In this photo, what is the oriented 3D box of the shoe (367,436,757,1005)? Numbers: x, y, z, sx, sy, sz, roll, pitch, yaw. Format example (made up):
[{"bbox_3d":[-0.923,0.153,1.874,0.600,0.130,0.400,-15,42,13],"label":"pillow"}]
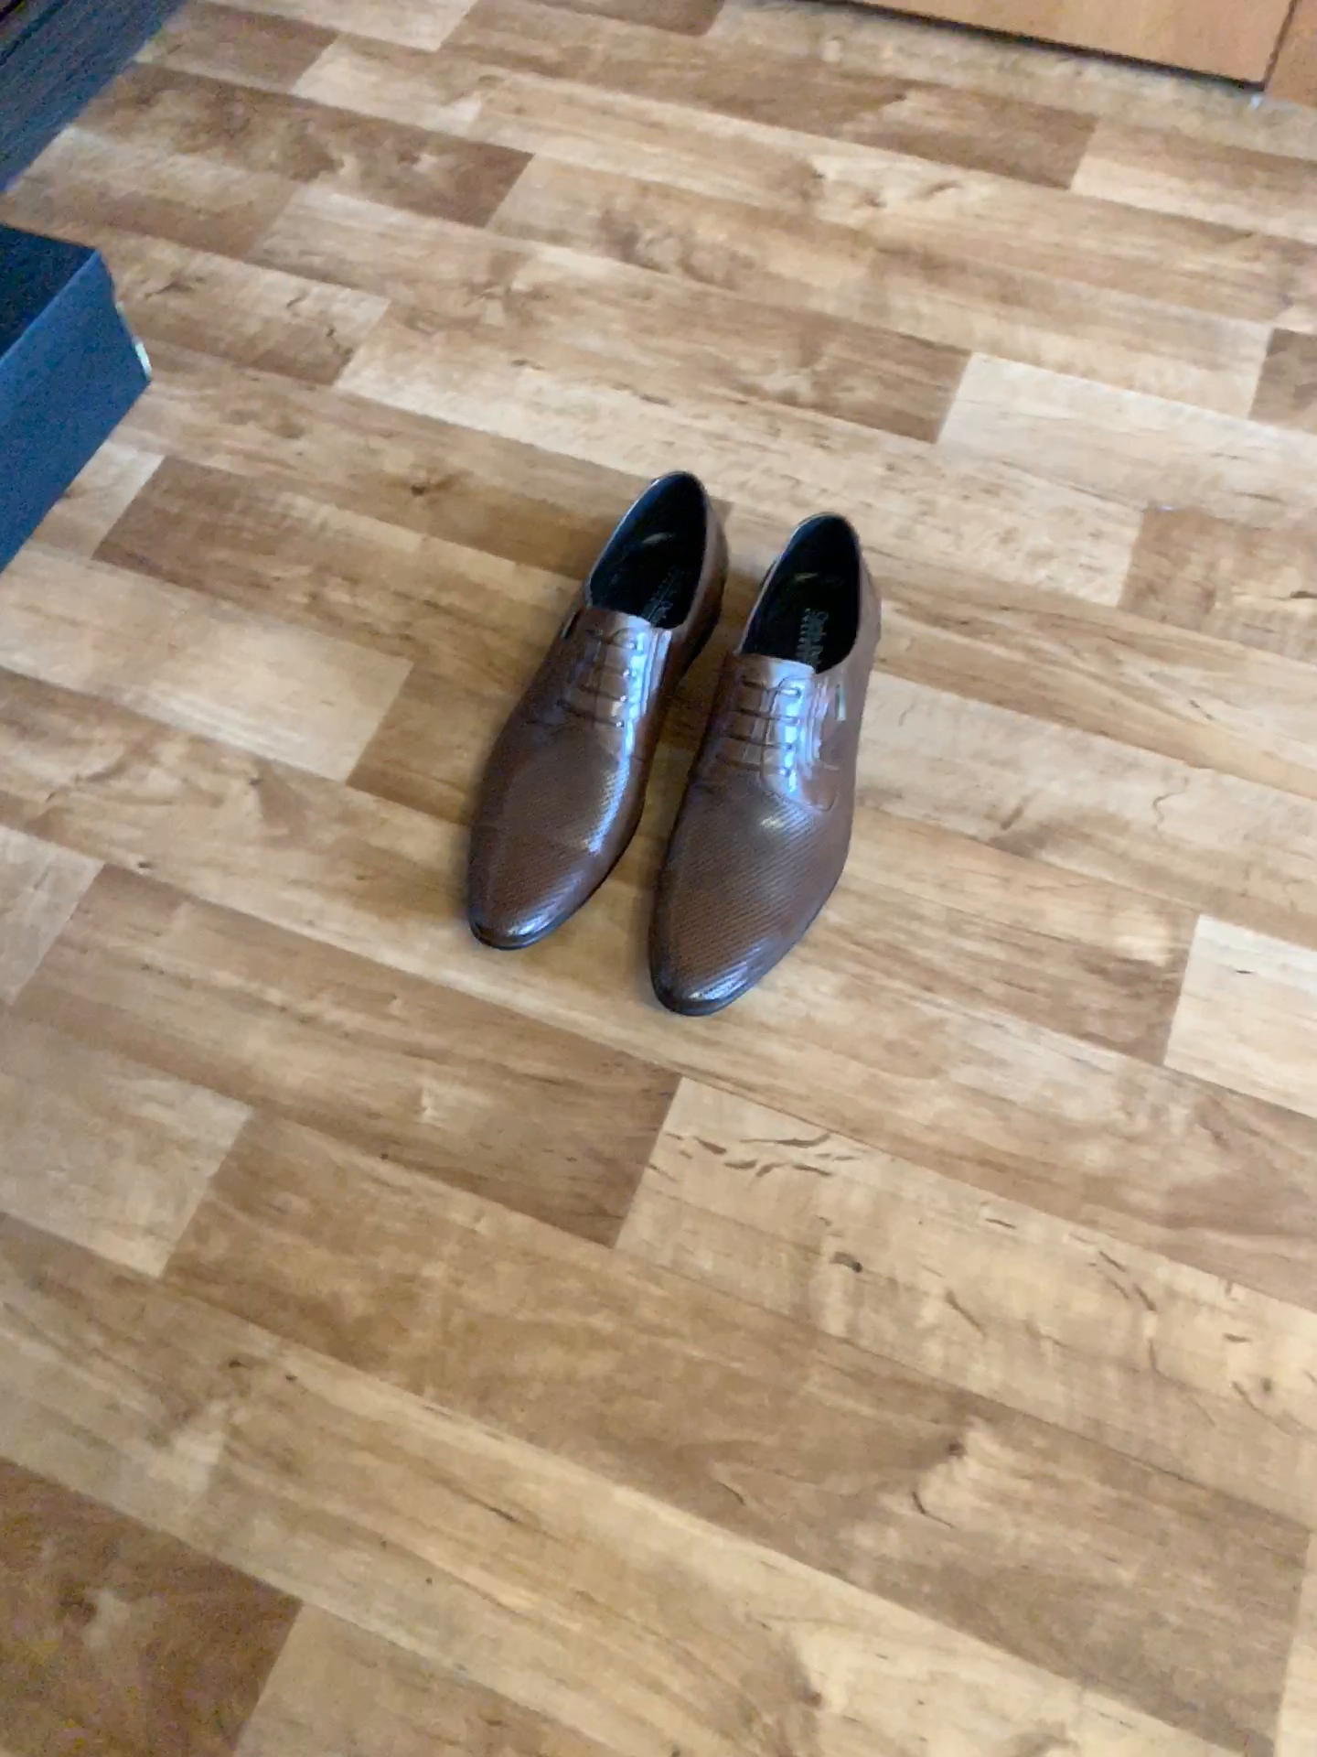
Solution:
[{"bbox_3d":[-0.043,-0.096,0.781,0.100,0.120,0.300,19,64,11],"label":"shoe"}]

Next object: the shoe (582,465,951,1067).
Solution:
[{"bbox_3d":[0.065,-0.070,0.741,0.110,0.100,0.310,16,64,9],"label":"shoe"}]
